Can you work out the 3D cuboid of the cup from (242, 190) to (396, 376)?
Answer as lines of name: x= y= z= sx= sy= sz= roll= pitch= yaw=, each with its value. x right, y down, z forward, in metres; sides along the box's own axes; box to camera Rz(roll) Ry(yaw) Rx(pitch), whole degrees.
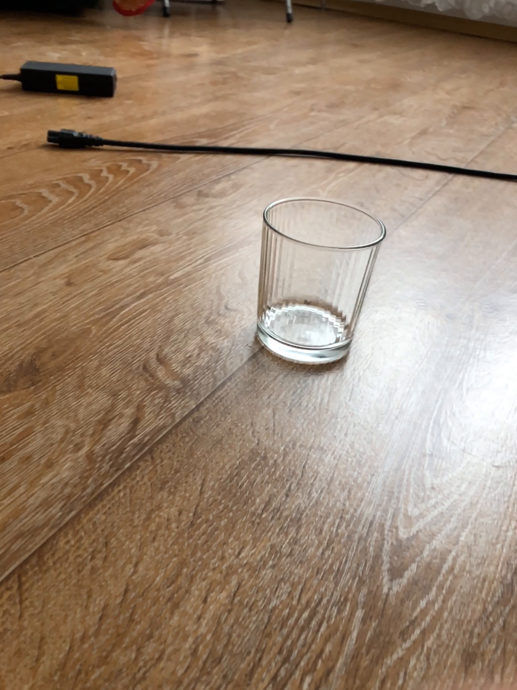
cup: x=0.038 y=-0.041 z=0.361 sx=0.078 sy=0.079 sz=0.076 roll=5 pitch=35 yaw=-3
